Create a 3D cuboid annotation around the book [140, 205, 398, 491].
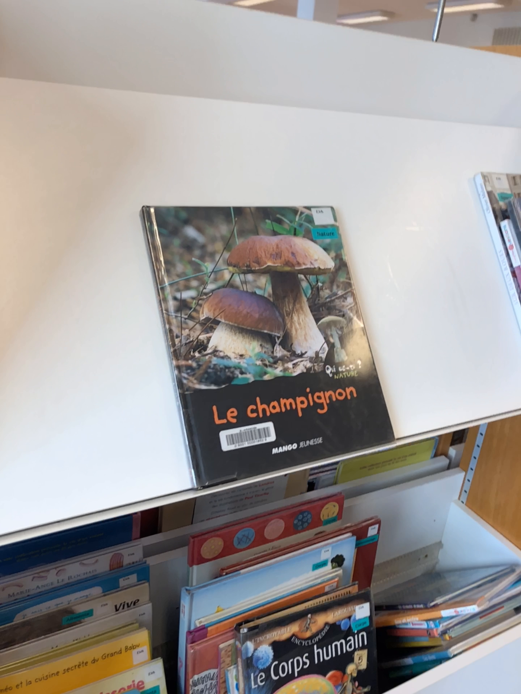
[{"bbox_3d":[0.012,-0.014,0.525,0.203,0.242,0.020,-7,-11,-28],"label":"book"}]
